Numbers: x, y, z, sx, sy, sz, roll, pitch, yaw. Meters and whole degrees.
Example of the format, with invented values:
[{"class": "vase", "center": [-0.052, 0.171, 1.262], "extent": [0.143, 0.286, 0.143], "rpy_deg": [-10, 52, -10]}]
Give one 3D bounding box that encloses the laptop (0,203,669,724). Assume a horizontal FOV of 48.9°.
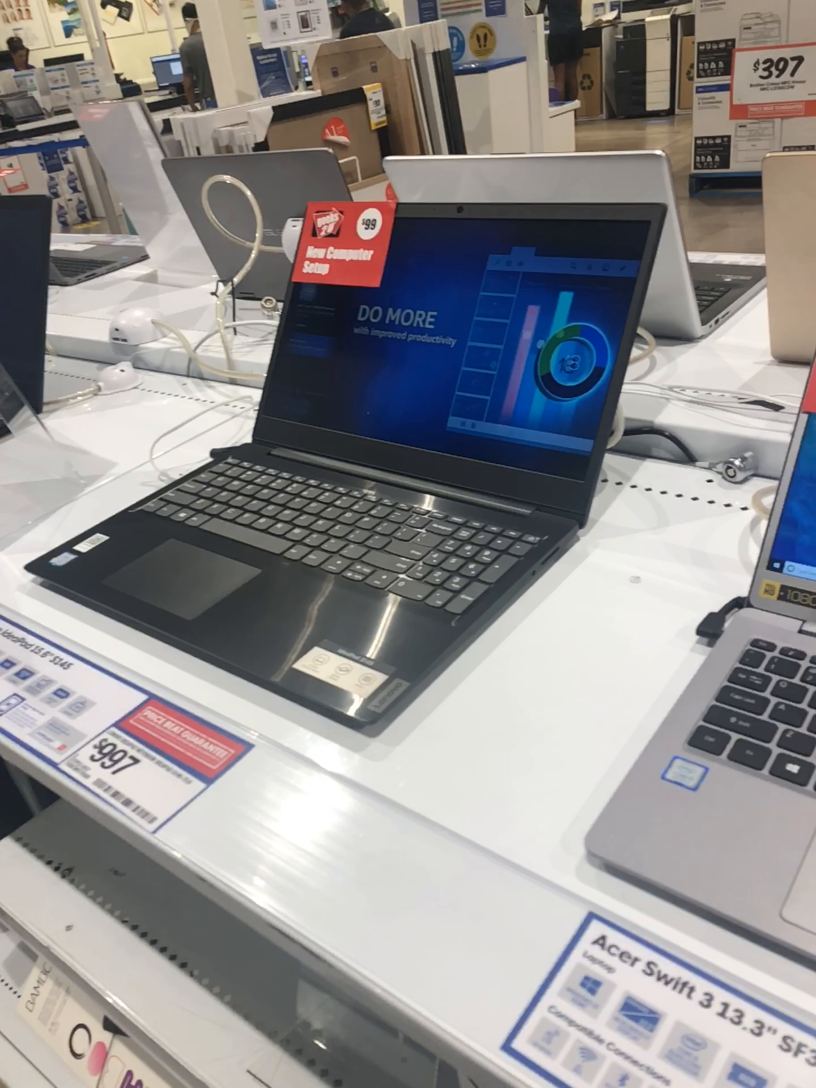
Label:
[{"class": "laptop", "center": [-0.053, -0.110, 0.671], "extent": [0.353, 0.192, 0.373], "rpy_deg": [16, 38, 36]}]
